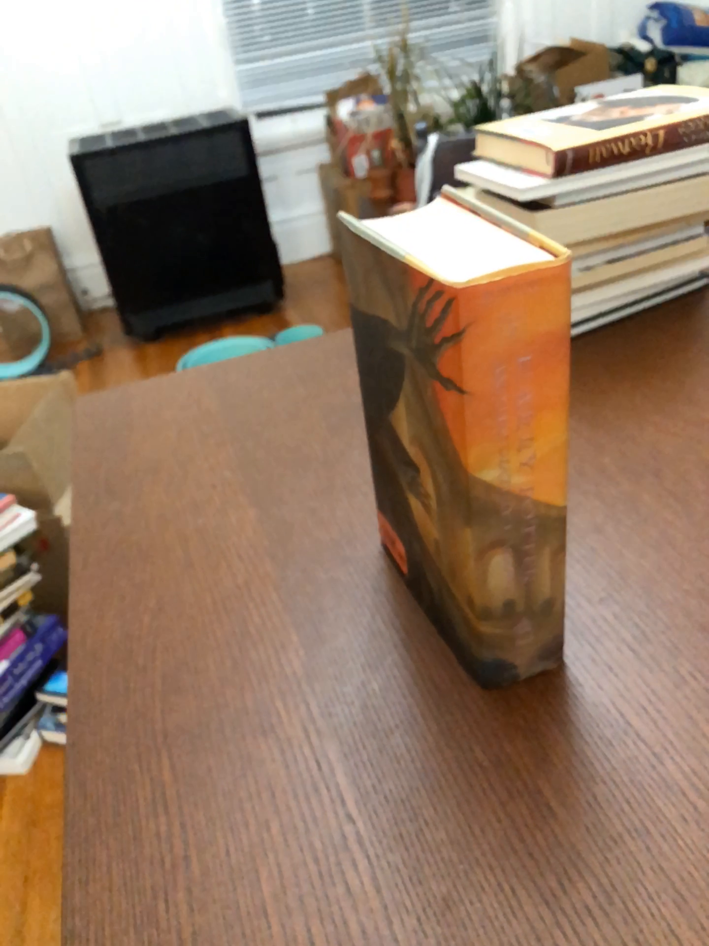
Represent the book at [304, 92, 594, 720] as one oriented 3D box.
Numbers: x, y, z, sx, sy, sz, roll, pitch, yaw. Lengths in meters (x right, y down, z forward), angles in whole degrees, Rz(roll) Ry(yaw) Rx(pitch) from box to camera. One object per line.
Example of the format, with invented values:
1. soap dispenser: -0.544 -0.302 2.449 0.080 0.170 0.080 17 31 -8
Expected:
1. book: 0.051 -0.046 0.464 0.070 0.298 0.211 -14 31 -9
